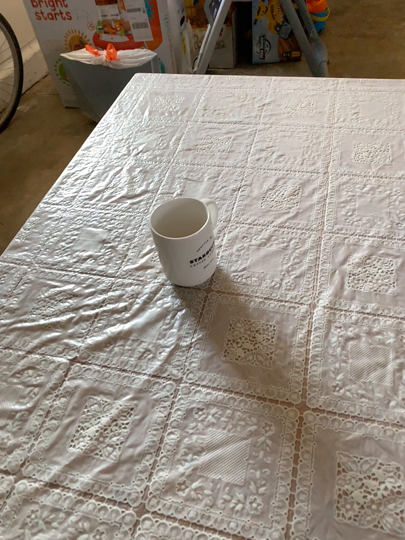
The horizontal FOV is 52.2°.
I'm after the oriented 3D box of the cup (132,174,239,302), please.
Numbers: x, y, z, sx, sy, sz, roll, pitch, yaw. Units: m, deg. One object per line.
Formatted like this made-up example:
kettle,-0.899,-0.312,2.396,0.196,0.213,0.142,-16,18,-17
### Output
cup,-0.018,-0.049,0.613,0.090,0.110,0.130,20,58,22
